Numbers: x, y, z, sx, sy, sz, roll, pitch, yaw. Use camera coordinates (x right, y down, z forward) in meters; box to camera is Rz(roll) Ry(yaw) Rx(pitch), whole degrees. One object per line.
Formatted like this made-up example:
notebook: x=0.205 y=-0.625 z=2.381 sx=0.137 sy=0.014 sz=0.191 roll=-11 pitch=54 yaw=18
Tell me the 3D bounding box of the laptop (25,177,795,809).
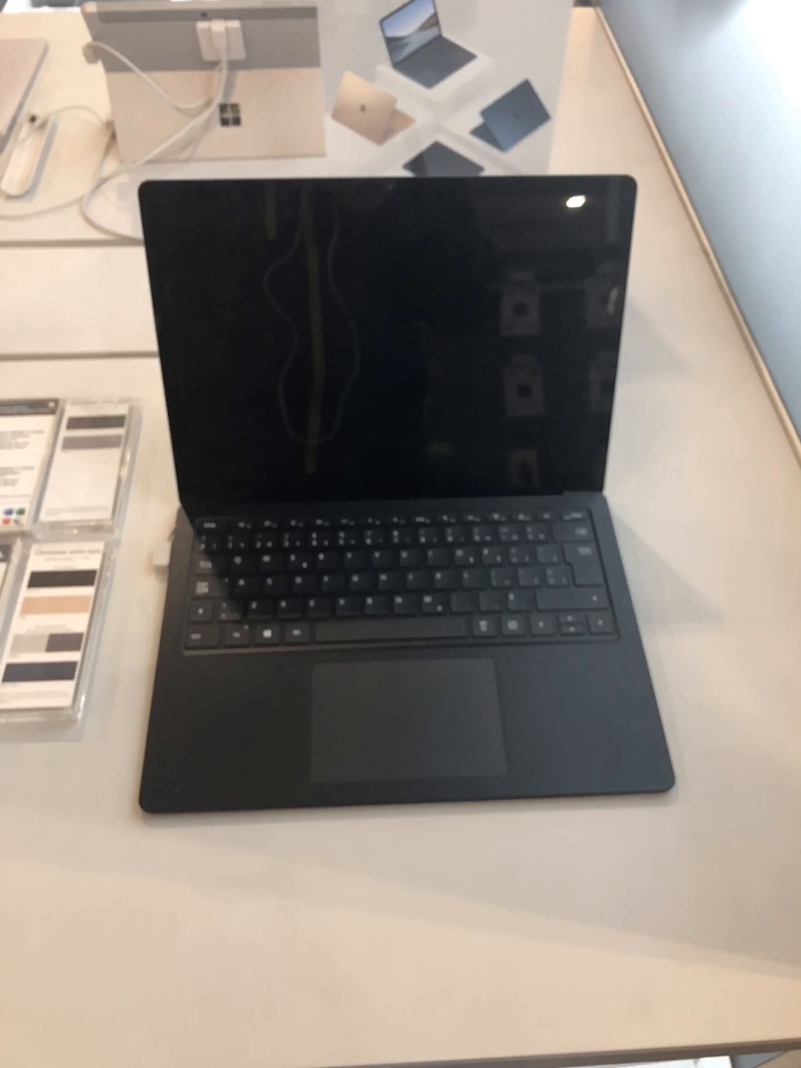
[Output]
laptop: x=-0.001 y=-0.035 z=0.531 sx=0.308 sy=0.197 sz=0.314 roll=-2 pitch=51 yaw=-3
